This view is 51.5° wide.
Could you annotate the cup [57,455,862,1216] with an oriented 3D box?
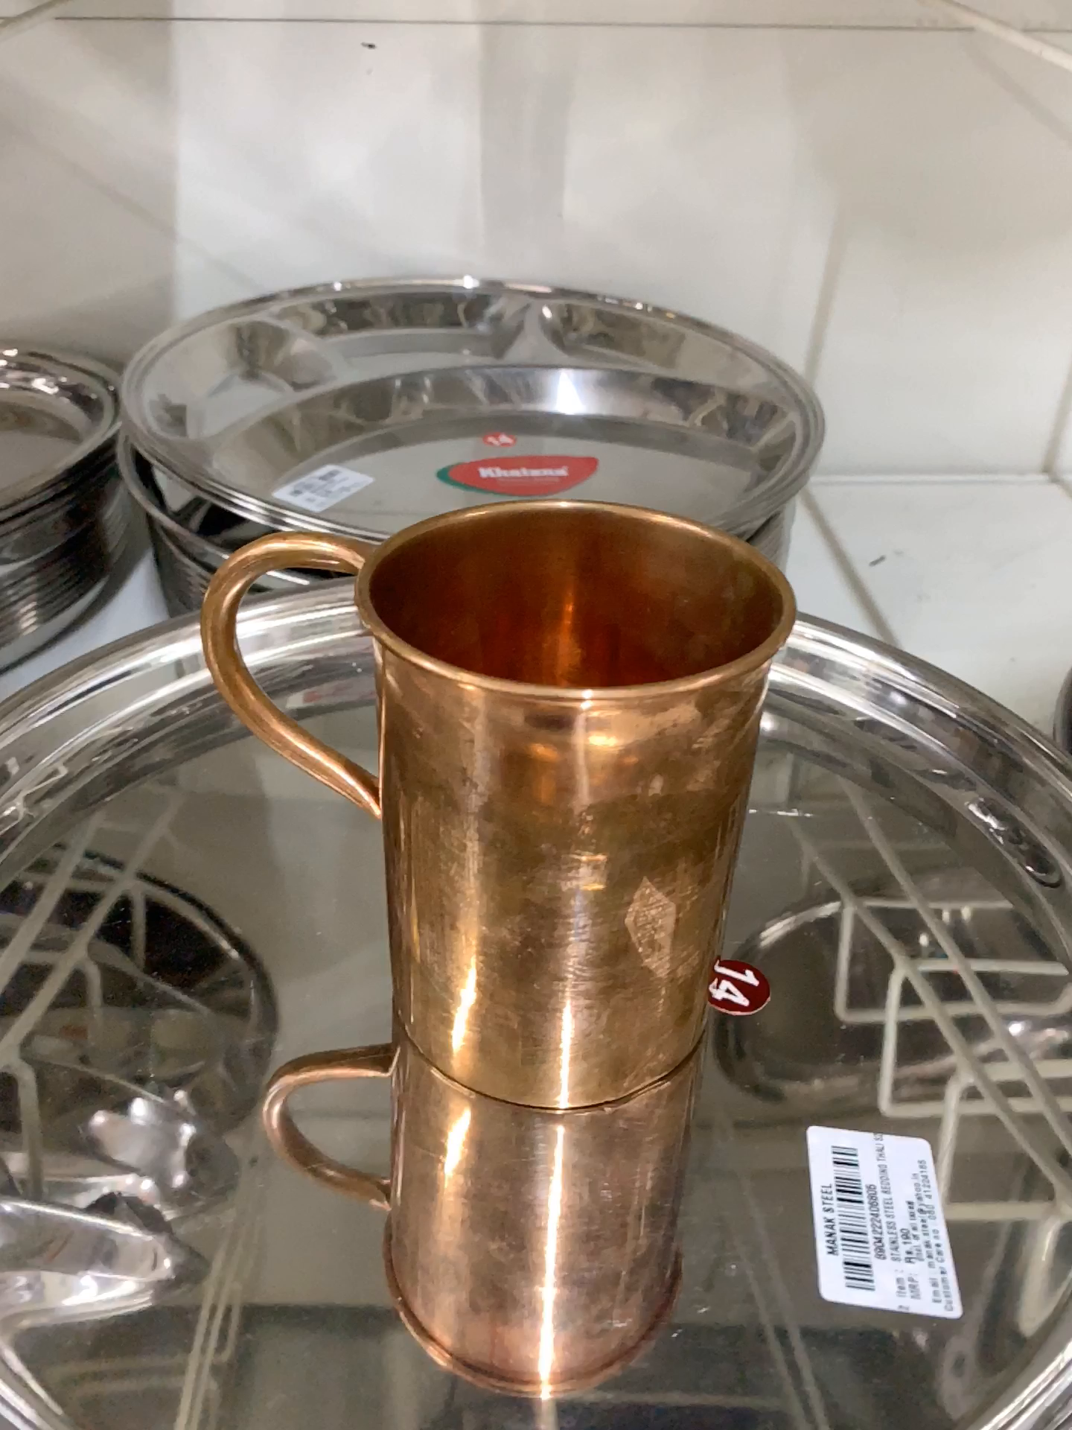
[{"bbox_3d":[-0.007,0.023,0.239,0.130,0.119,0.080,8,37,11],"label":"cup"}]
